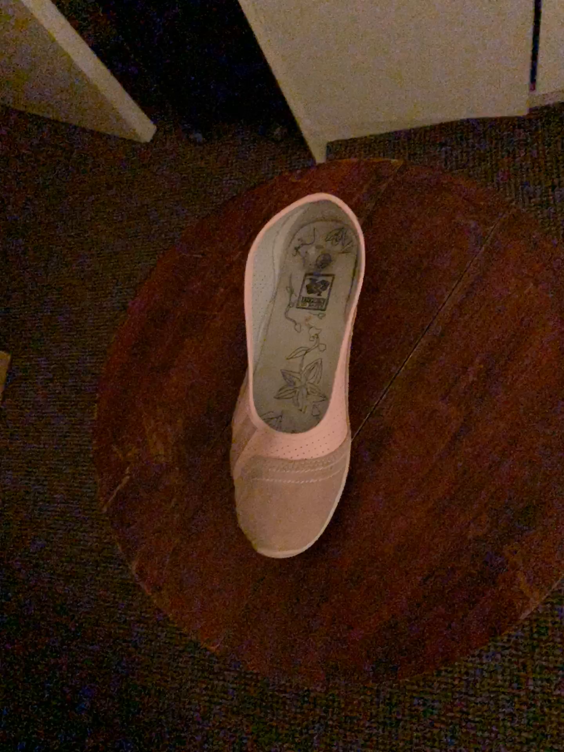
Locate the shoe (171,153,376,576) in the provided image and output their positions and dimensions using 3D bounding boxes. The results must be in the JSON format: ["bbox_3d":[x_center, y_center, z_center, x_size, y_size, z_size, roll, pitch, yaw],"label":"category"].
[{"bbox_3d":[0.003,-0.011,0.399,0.090,0.070,0.271,1,73,21],"label":"shoe"}]
